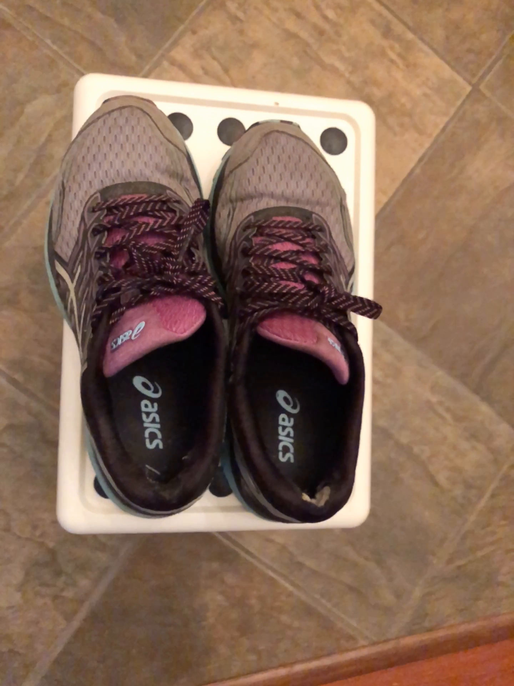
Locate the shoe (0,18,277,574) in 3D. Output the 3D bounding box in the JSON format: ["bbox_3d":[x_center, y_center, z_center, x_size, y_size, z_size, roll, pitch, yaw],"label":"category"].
[{"bbox_3d":[-0.068,-0.026,0.333,0.110,0.120,0.260,-6,89,-9],"label":"shoe"}]

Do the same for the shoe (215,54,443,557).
[{"bbox_3d":[0.034,-0.020,0.360,0.110,0.120,0.260,0,88,-9],"label":"shoe"}]
